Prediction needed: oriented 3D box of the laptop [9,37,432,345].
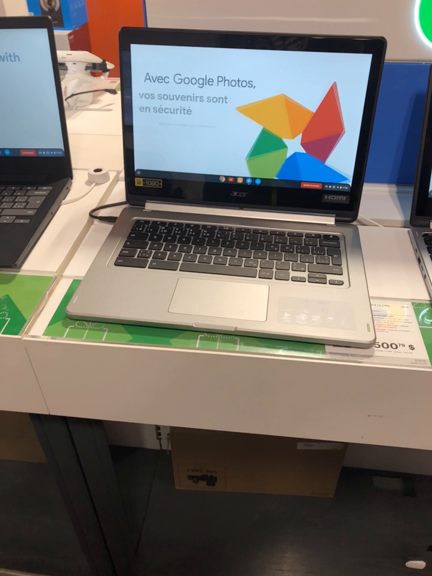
[{"bbox_3d":[0.013,-0.119,0.513,0.317,0.226,0.240,5,38,6],"label":"laptop"}]
